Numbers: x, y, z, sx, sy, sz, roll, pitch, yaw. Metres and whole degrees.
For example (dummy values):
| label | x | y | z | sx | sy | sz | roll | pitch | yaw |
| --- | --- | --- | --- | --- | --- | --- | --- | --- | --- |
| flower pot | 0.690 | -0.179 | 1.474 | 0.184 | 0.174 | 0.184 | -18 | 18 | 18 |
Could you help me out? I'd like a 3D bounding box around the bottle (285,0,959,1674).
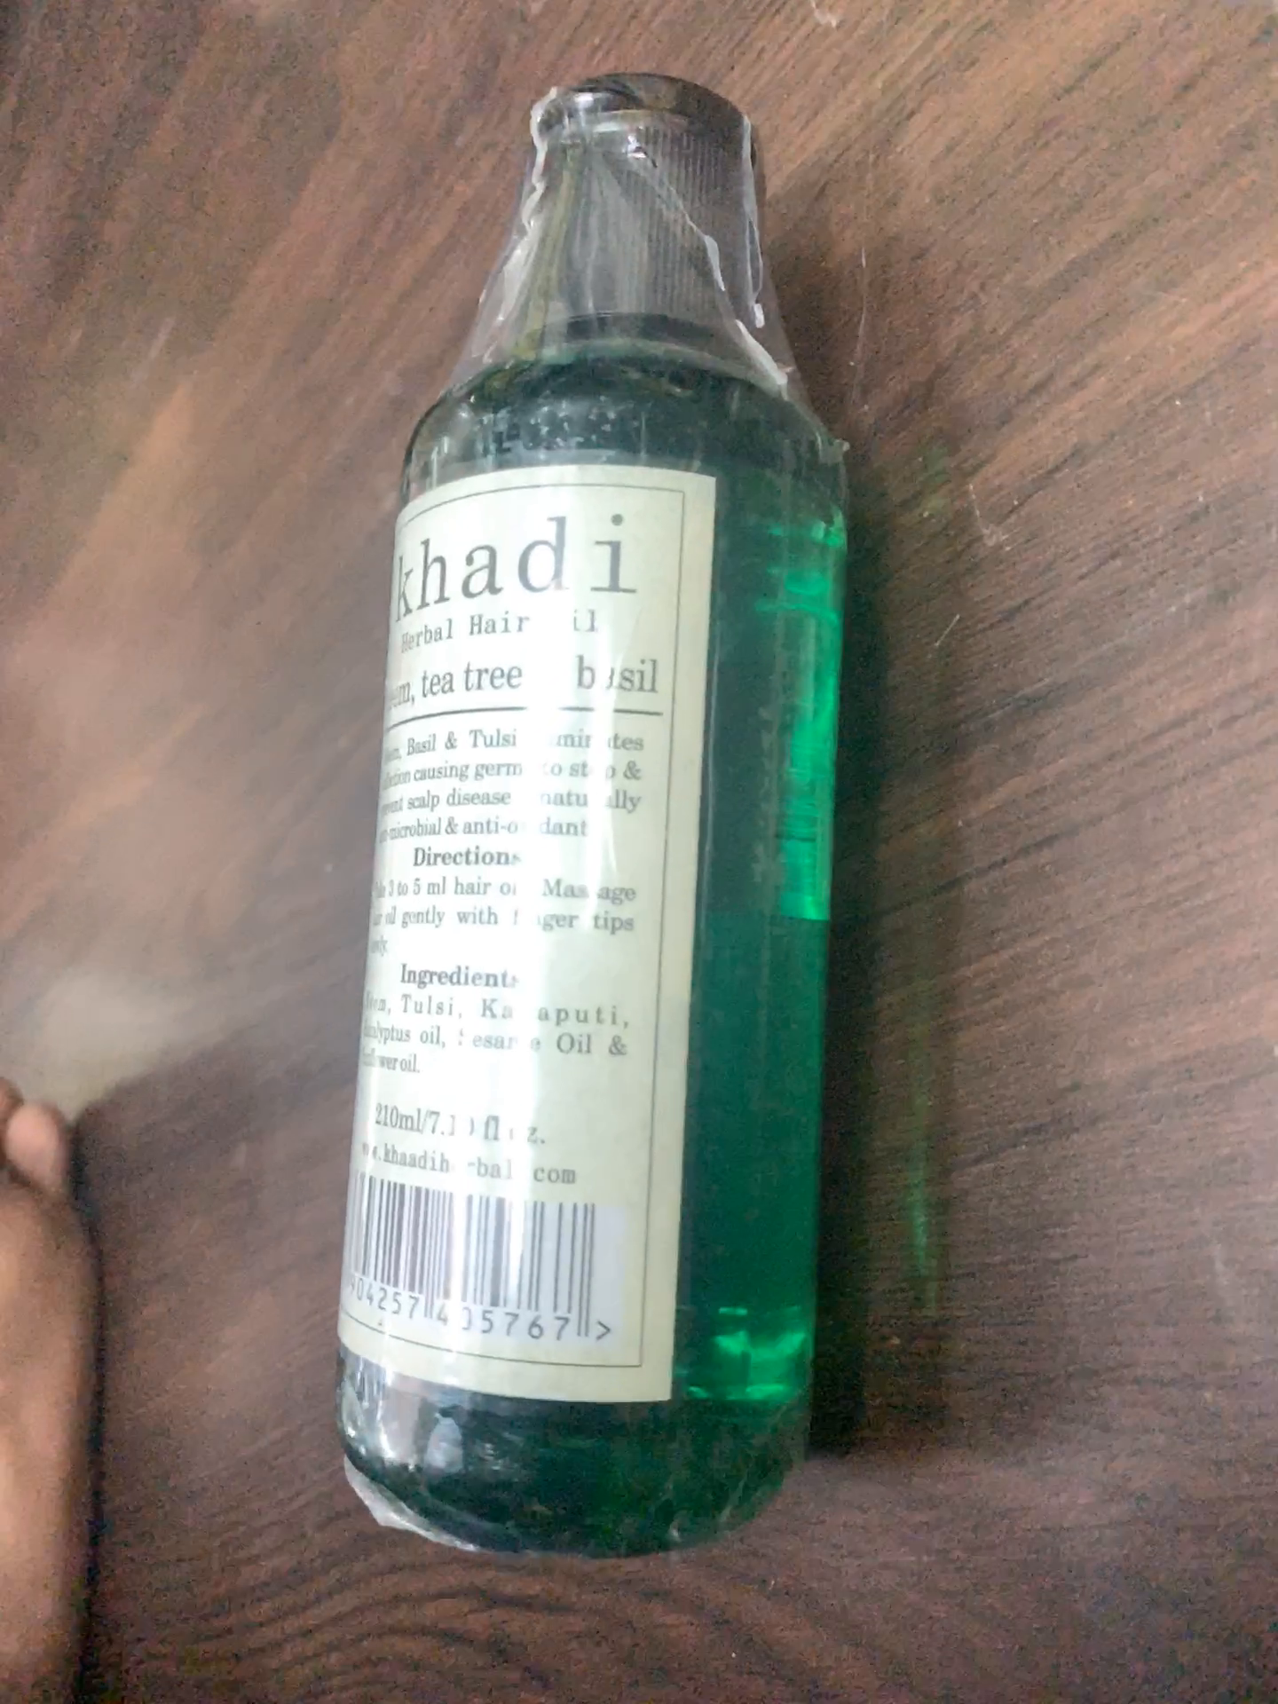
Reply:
| label | x | y | z | sx | sy | sz | roll | pitch | yaw |
| --- | --- | --- | --- | --- | --- | --- | --- | --- | --- |
| bottle | 0.003 | -0.006 | 0.148 | 0.050 | 0.050 | 0.150 | 0 | 83 | 23 |
